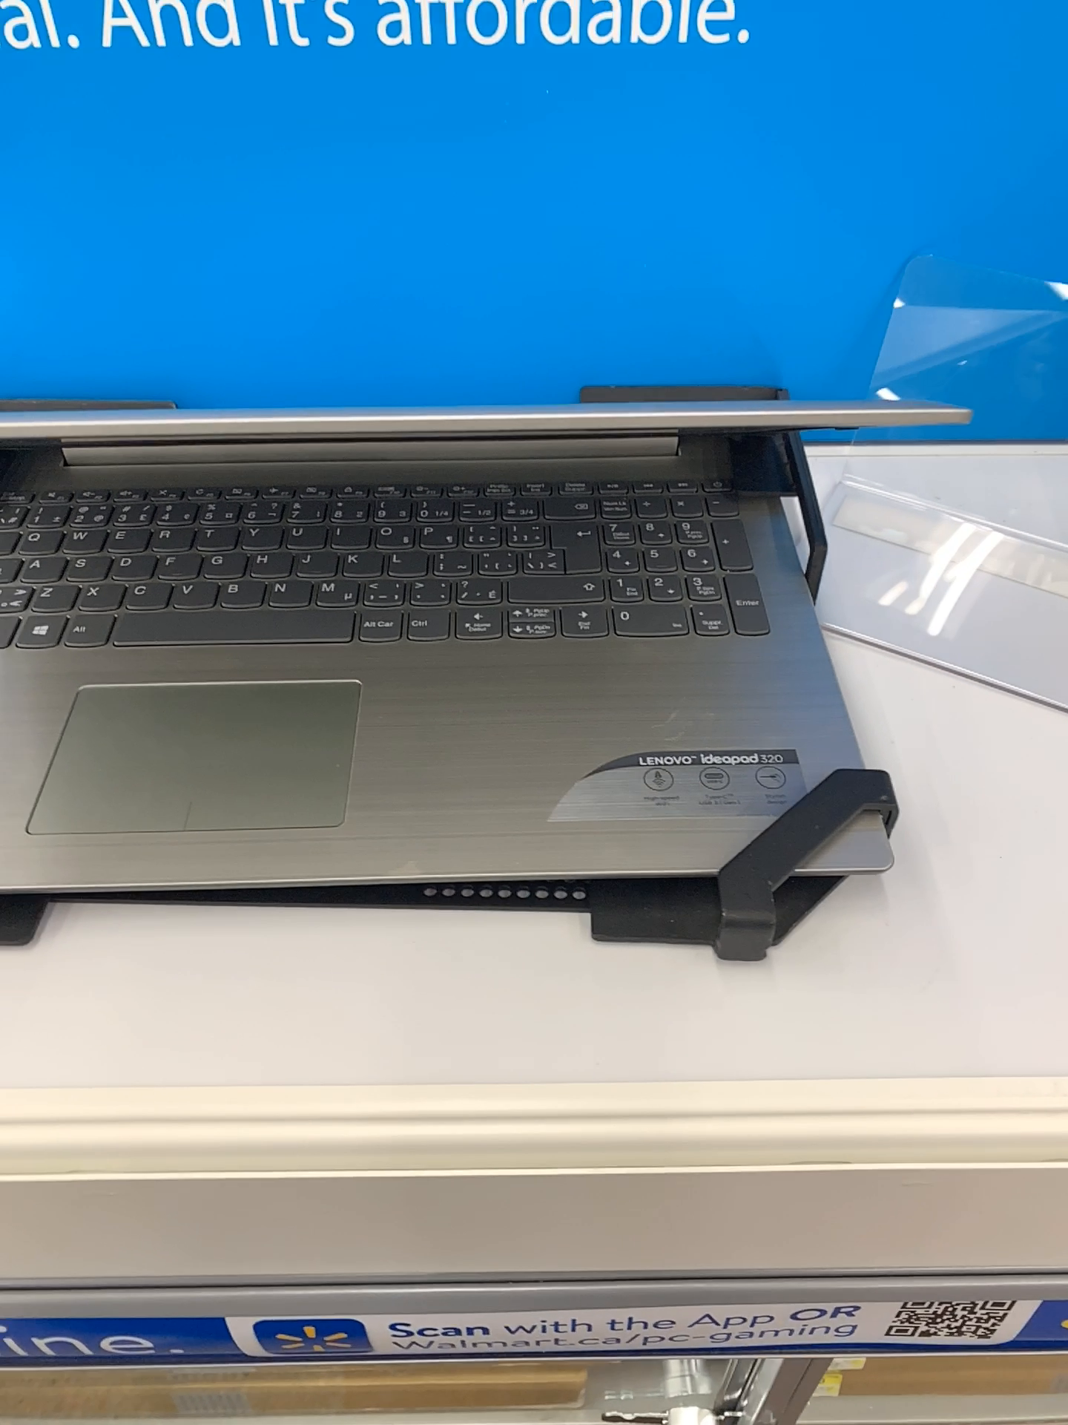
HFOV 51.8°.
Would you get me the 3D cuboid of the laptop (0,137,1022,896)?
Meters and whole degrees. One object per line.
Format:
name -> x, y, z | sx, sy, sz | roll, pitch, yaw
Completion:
laptop -> -0.063, -0.077, 0.346 | 0.326, 0.115, 0.230 | -1, 45, -1
